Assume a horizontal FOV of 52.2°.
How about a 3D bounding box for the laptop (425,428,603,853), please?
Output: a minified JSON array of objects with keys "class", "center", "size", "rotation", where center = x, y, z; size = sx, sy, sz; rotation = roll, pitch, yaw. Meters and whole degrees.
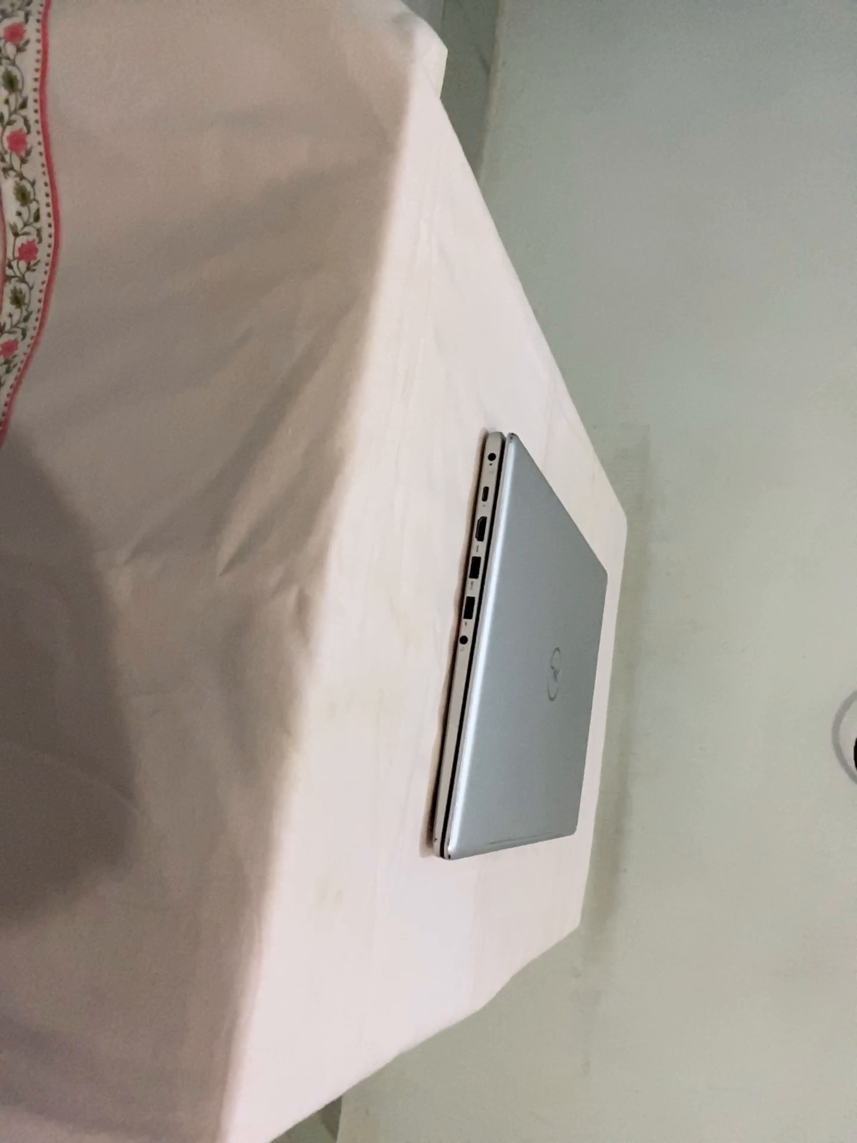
[{"class":"laptop","center":[0.082,0.070,0.642],"size":[0.361,0.004,0.236],"rotation":[33,65,-67]}]
